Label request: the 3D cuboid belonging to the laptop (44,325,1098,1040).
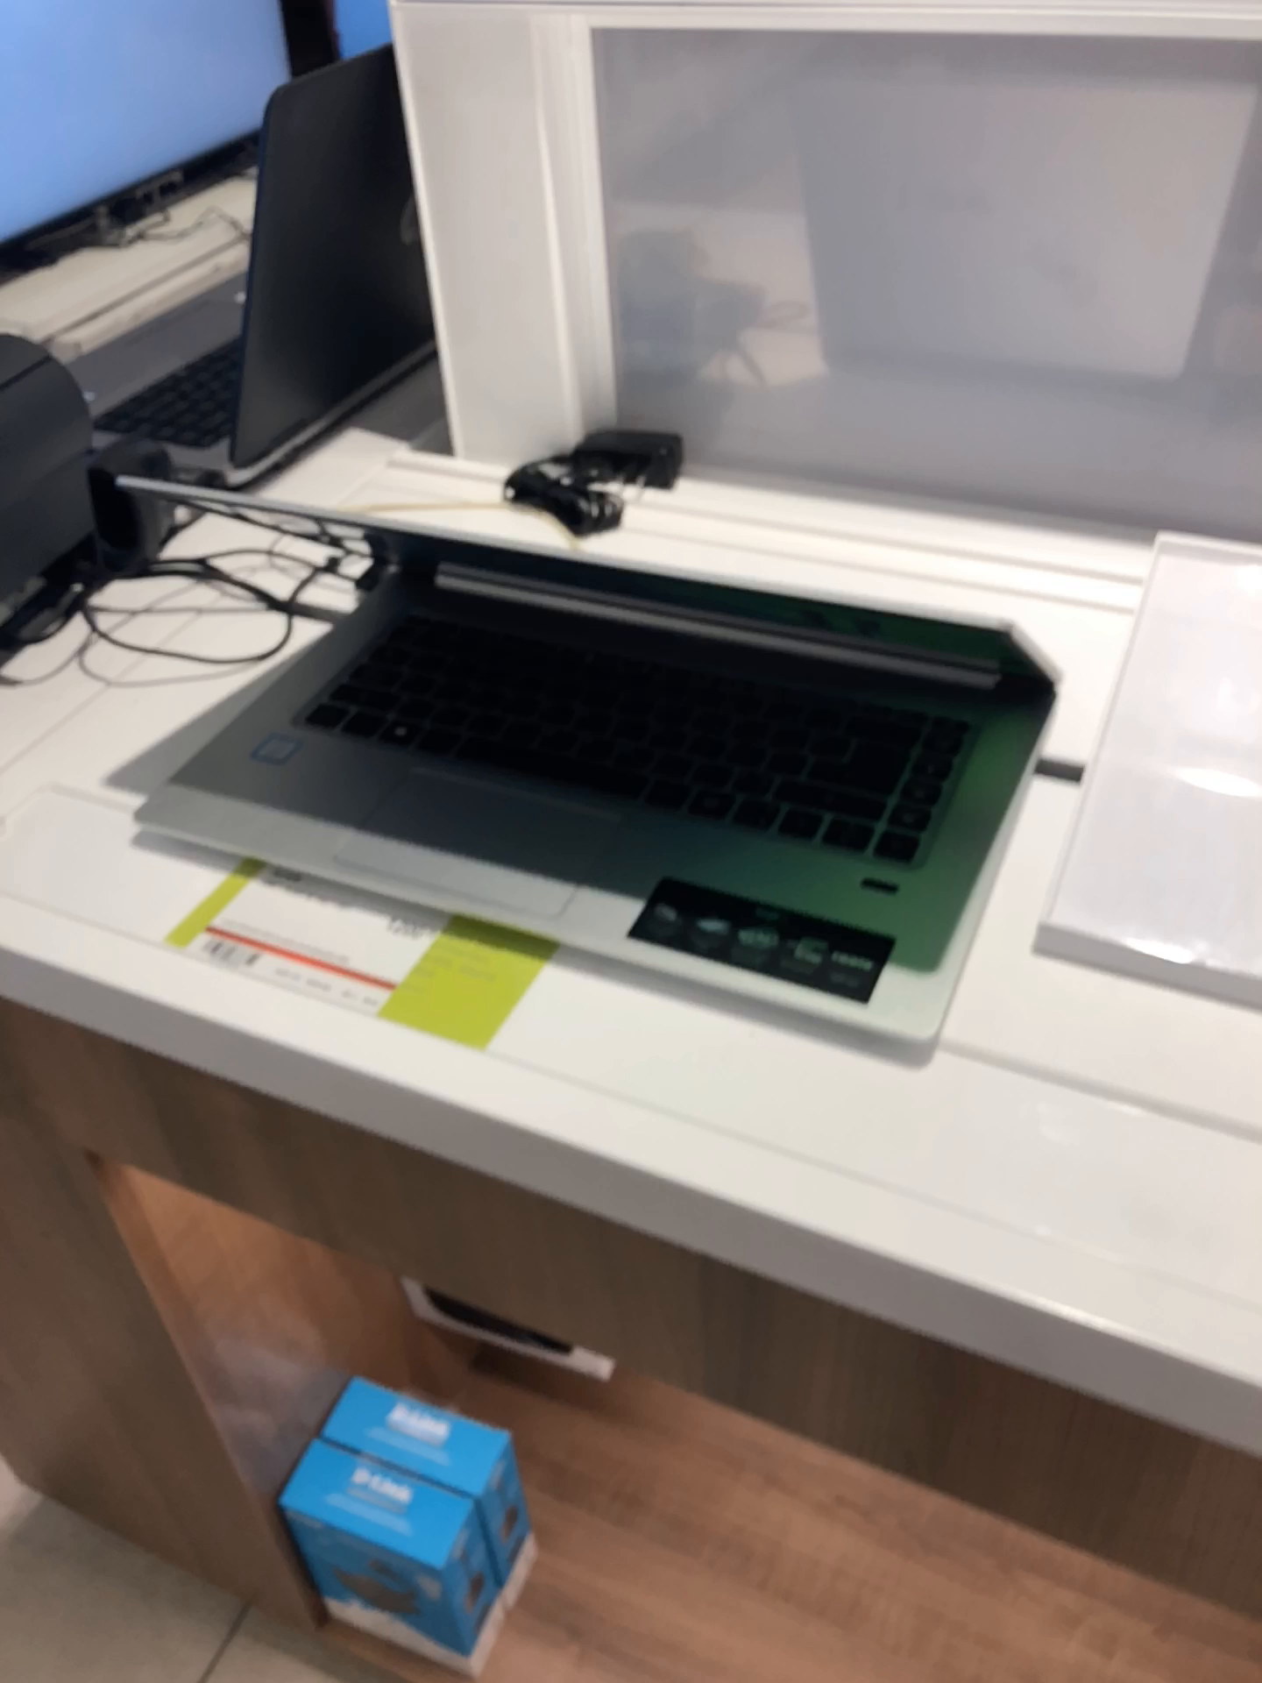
[{"bbox_3d":[-0.014,-0.089,0.583,0.347,0.132,0.218,14,44,20],"label":"laptop"}]
